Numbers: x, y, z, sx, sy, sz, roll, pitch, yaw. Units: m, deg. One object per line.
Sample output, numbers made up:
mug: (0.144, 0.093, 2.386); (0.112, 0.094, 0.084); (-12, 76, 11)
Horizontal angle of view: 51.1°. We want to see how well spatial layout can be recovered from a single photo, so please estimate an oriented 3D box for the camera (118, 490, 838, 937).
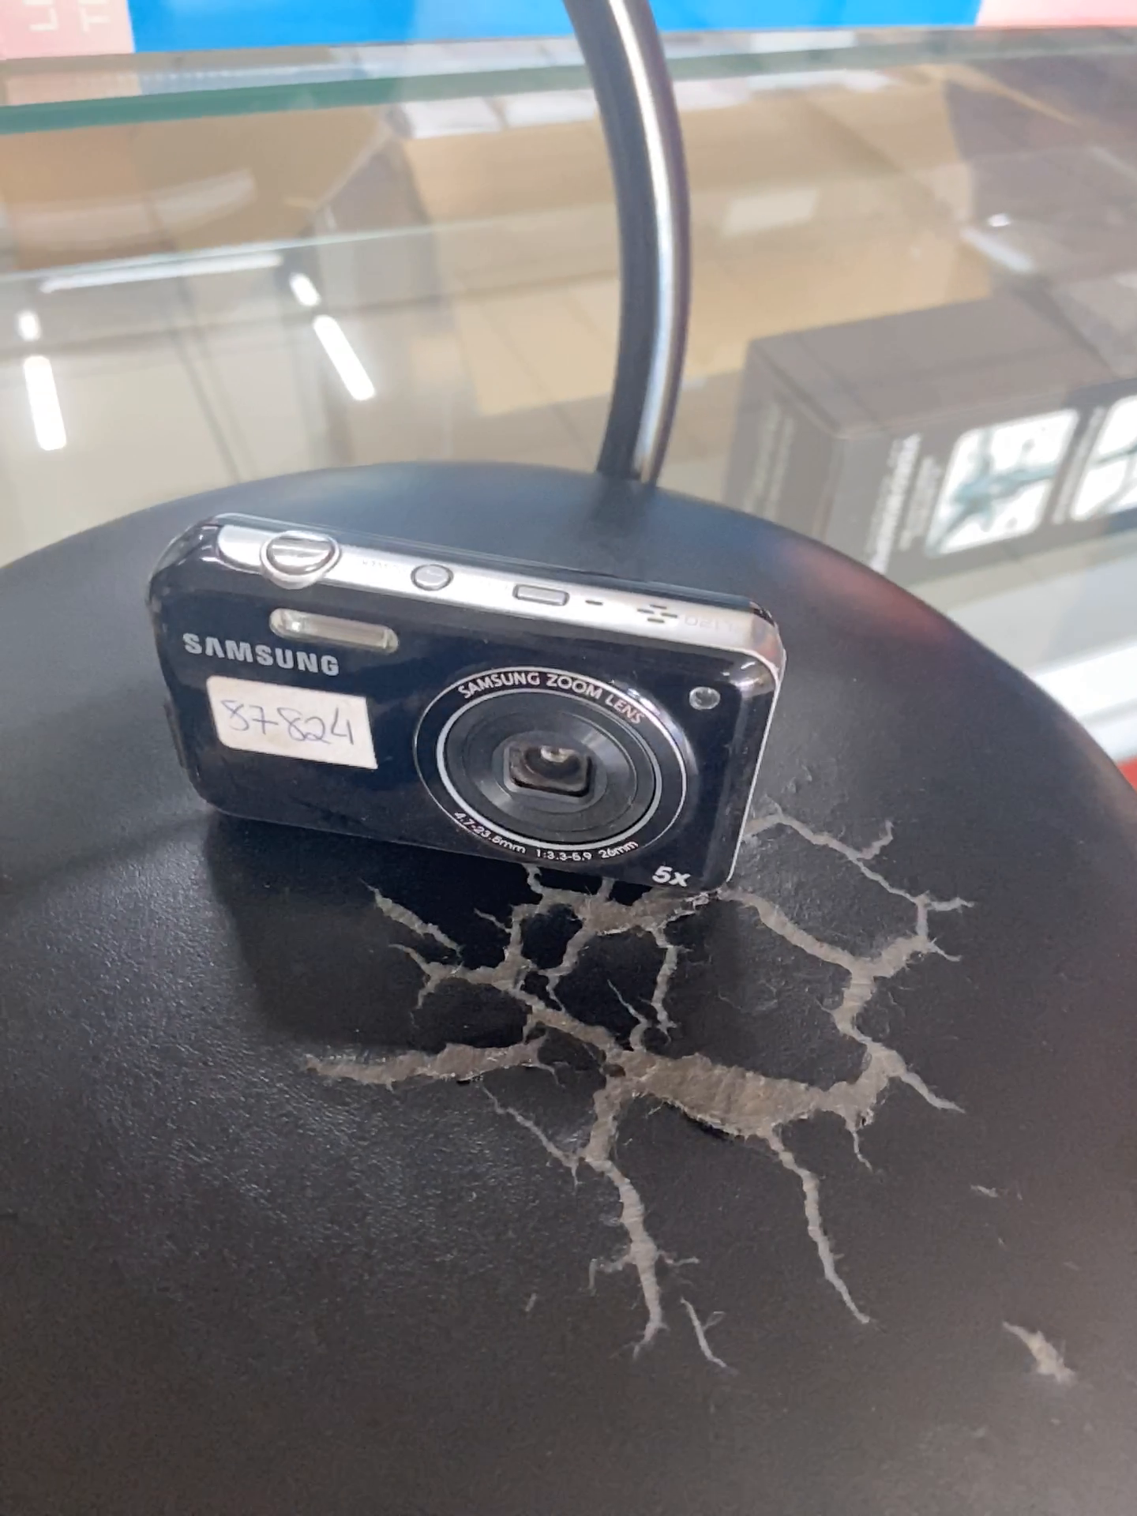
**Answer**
camera: (-0.012, -0.006, 0.190); (0.100, 0.050, 0.030); (9, 46, 5)
